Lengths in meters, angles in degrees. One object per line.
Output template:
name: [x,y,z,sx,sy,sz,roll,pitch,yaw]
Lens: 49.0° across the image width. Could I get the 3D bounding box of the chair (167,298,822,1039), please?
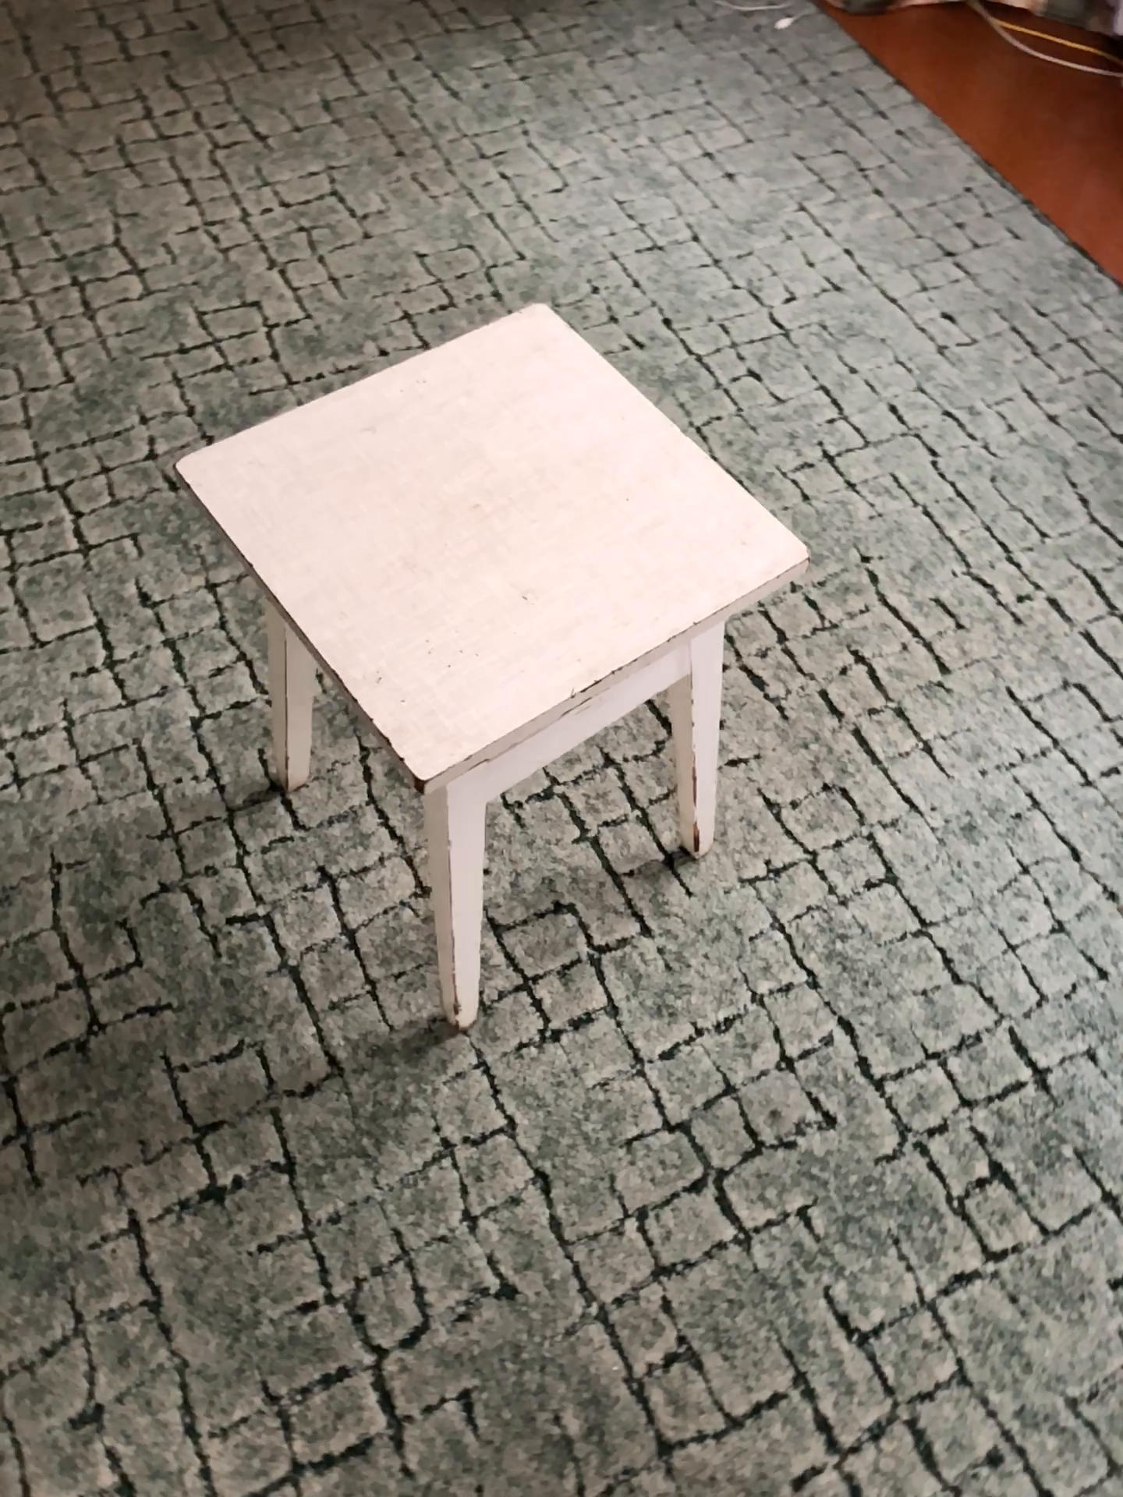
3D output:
chair: [-0.060,-0.050,1.063,0.335,0.447,0.333,-31,64,-20]
